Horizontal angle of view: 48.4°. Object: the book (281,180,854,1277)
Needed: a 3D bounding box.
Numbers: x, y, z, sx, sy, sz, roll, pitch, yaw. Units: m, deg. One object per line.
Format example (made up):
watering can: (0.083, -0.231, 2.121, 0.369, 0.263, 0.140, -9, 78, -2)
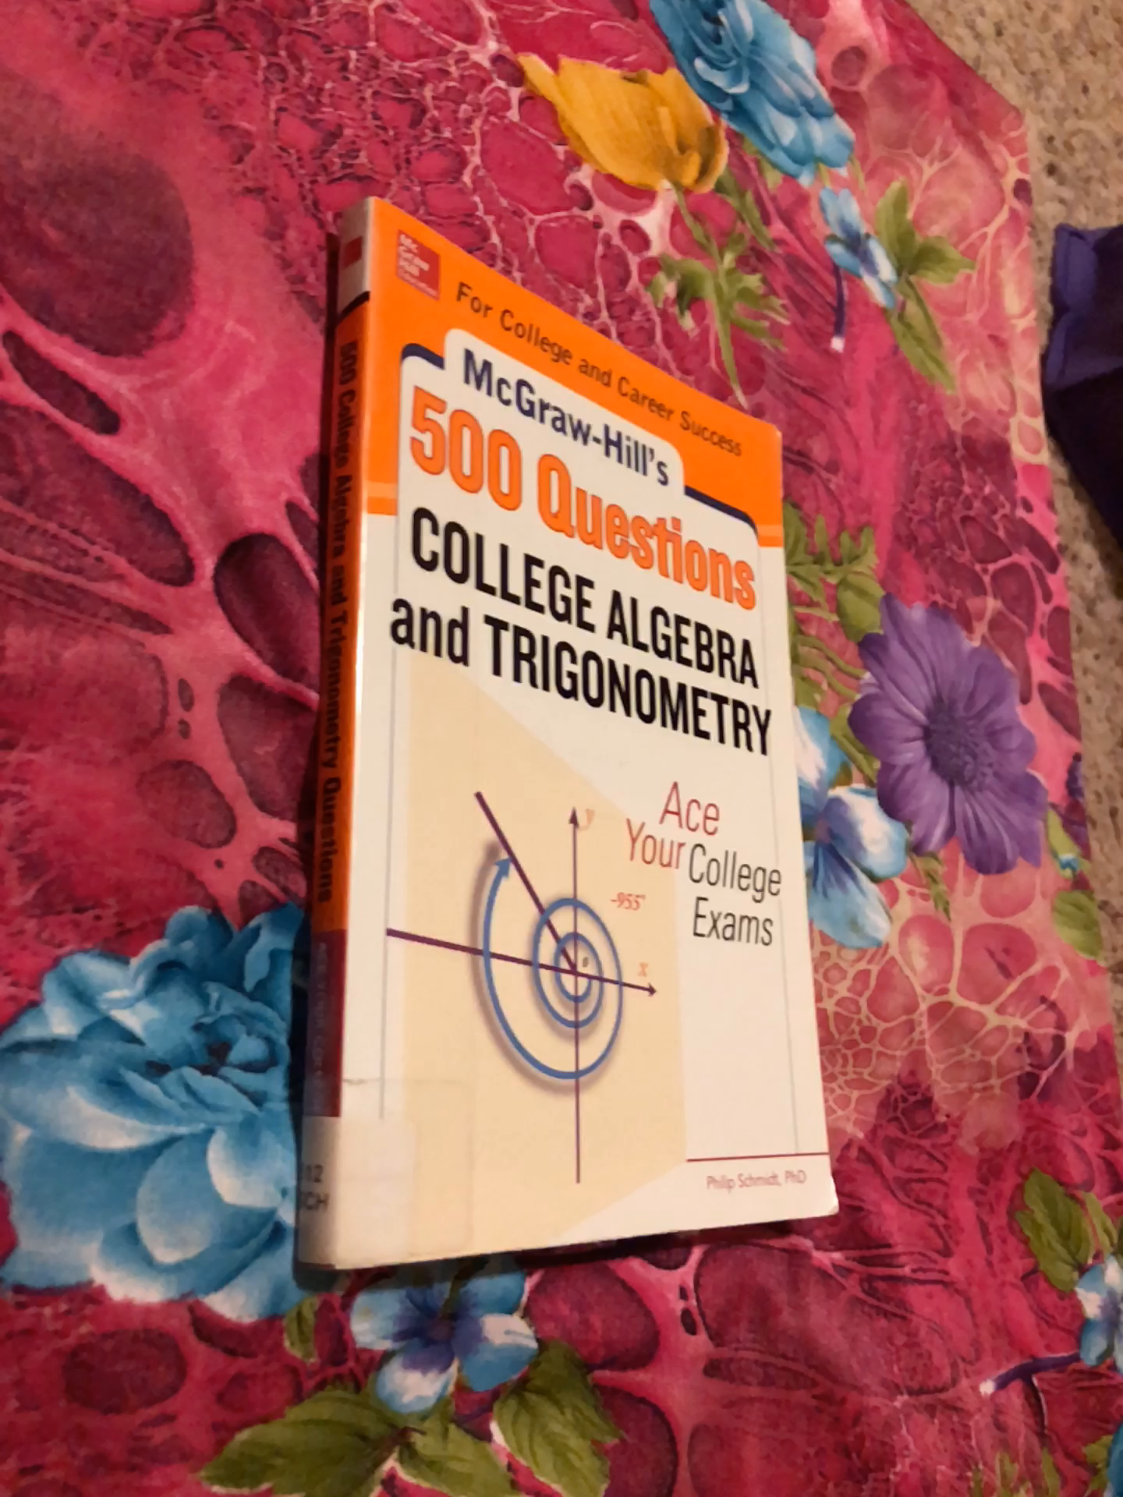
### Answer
book: (0.012, 0.000, 0.302, 0.157, 0.022, 0.220, 15, 68, -43)
